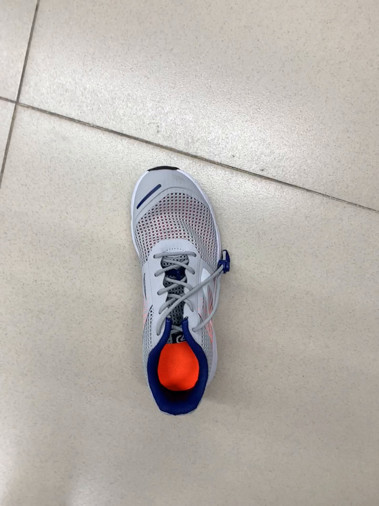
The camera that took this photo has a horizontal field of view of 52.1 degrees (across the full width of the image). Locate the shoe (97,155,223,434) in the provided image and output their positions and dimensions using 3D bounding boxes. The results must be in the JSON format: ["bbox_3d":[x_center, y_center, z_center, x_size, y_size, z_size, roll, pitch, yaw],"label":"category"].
[{"bbox_3d":[-0.024,0.036,0.392,0.100,0.100,0.250,-2,100,-2],"label":"shoe"}]
